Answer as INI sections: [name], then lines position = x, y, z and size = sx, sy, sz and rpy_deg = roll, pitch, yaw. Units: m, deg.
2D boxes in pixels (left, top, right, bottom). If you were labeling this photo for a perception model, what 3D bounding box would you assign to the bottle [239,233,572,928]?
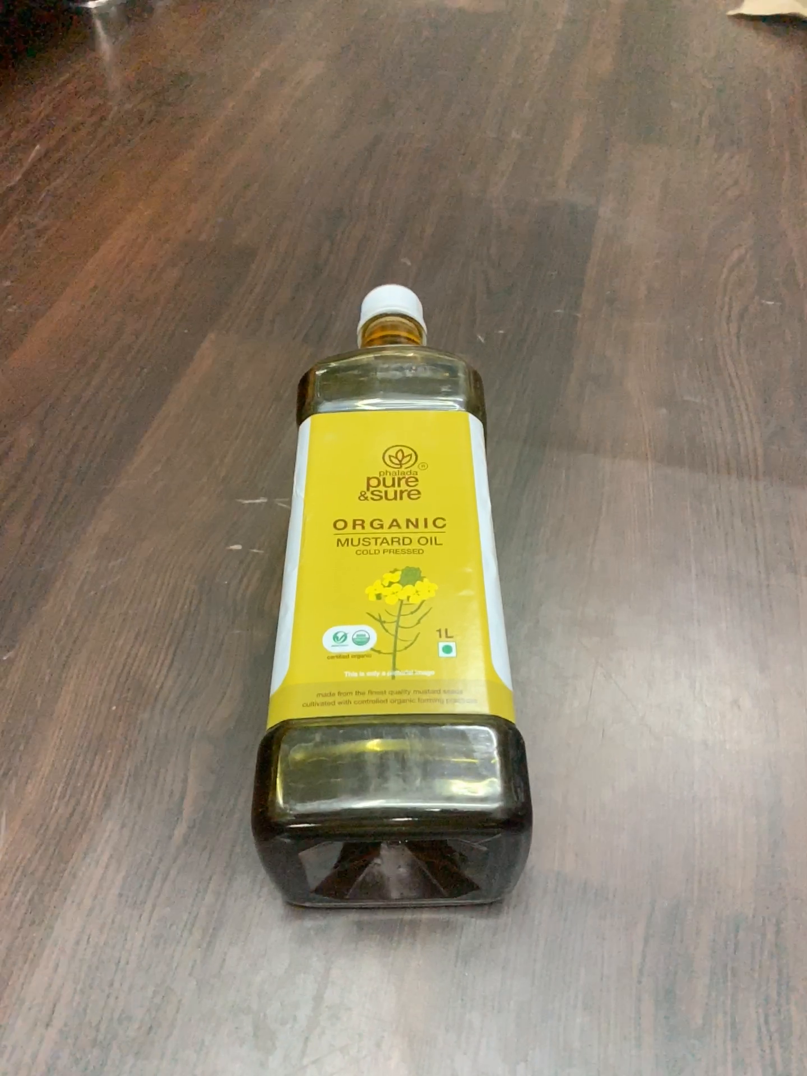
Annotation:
[bottle]
position = 0.002, -0.007, 0.317
size = 0.080, 0.080, 0.271
rpy_deg = 0, 50, 1
